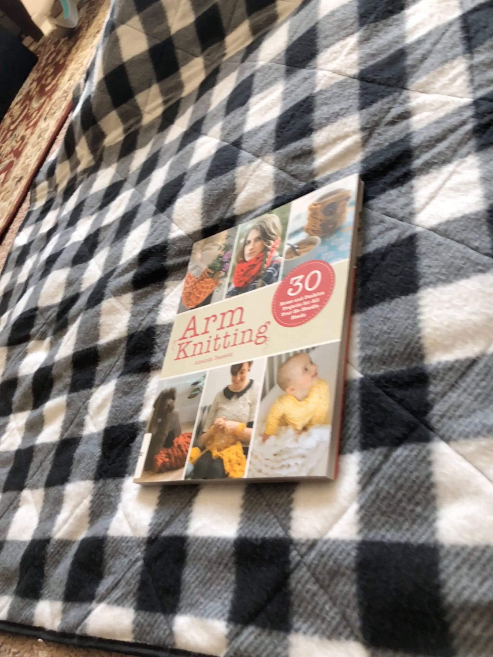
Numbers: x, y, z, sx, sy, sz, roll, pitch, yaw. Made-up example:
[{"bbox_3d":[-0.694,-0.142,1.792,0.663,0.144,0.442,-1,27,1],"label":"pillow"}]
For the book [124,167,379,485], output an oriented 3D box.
[{"bbox_3d":[0.003,0.002,0.433,0.197,0.020,0.238,-15,52,41],"label":"book"}]
